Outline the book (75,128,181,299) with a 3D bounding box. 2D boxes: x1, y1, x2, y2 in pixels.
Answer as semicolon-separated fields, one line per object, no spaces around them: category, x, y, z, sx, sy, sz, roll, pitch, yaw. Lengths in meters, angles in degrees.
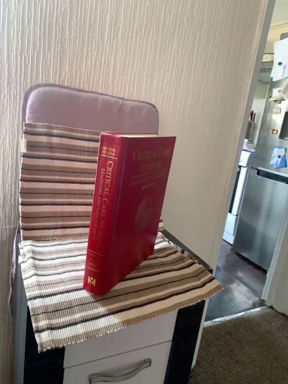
book;-0.021;0.021;0.607;0.060;0.288;0.251;16;16;23
